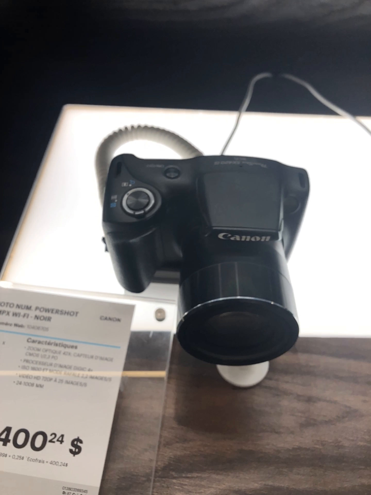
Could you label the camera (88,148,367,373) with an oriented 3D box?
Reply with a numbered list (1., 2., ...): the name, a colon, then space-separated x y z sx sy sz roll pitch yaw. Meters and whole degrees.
1. camera: 0.013 0.006 0.207 0.102 0.074 0.081 -1 48 -3
